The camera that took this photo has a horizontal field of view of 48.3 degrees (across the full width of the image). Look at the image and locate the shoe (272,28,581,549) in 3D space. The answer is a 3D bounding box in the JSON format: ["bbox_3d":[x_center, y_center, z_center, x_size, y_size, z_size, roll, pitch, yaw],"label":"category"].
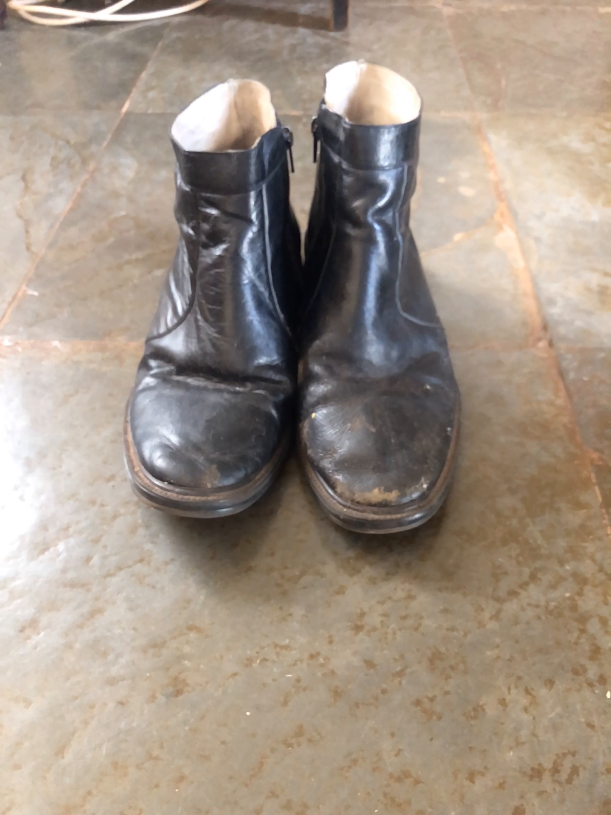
[{"bbox_3d":[0.037,-0.078,0.370,0.100,0.159,0.252,-2,45,-1],"label":"shoe"}]

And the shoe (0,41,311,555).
[{"bbox_3d":[-0.054,-0.073,0.374,0.100,0.159,0.252,2,45,3],"label":"shoe"}]
